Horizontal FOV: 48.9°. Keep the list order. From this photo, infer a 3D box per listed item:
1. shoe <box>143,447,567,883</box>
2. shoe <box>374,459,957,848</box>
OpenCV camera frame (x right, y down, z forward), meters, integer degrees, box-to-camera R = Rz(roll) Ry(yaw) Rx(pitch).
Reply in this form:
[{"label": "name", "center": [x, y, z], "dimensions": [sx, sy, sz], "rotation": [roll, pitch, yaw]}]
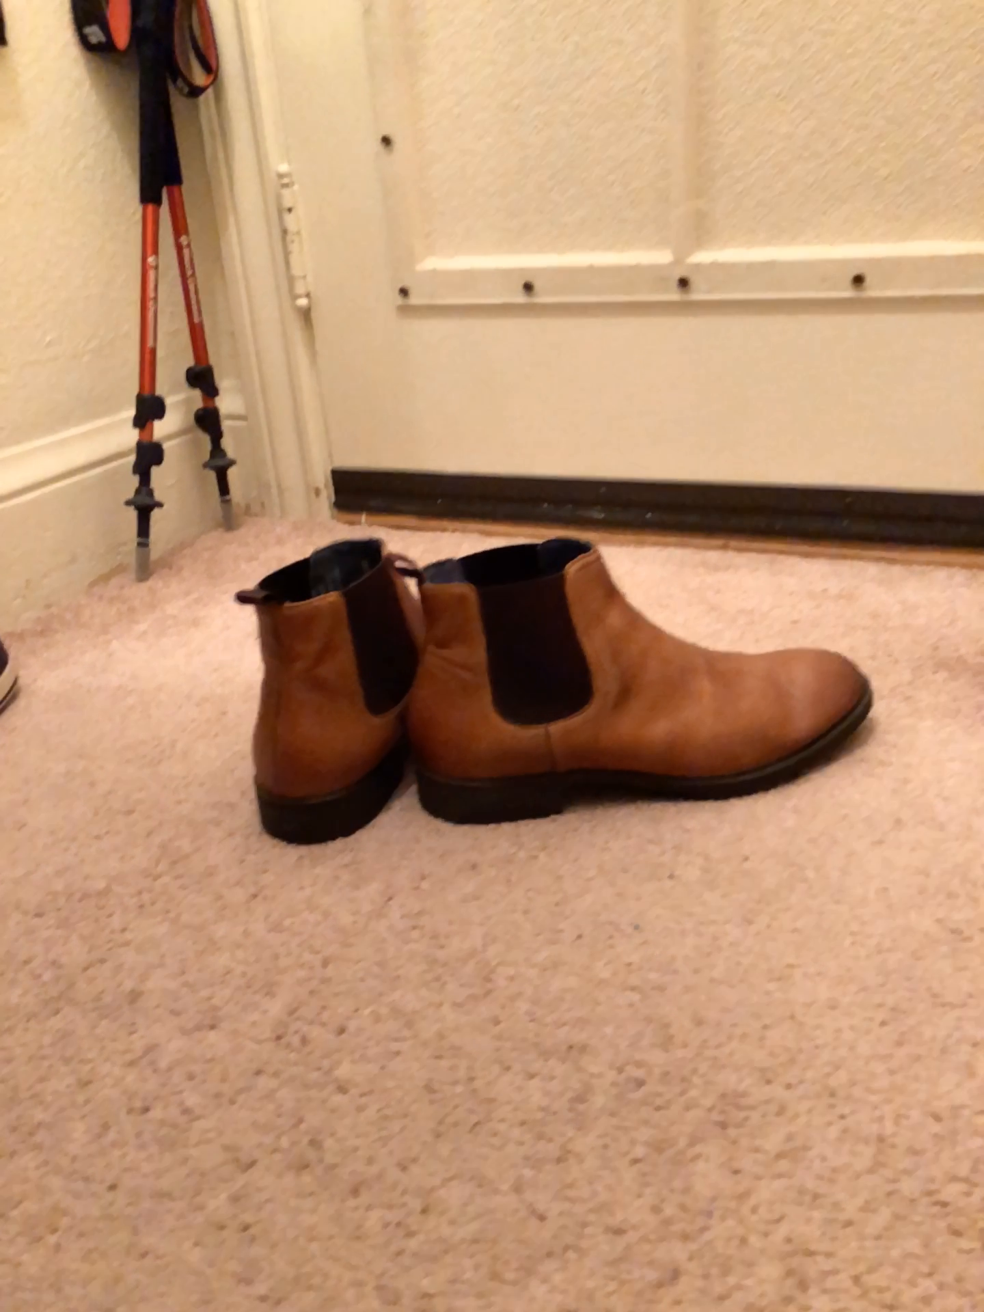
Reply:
[{"label": "shoe", "center": [-0.066, -0.017, 0.726], "dimensions": [0.109, 0.165, 0.314], "rotation": [8, 28, 26]}, {"label": "shoe", "center": [0.097, -0.008, 0.654], "dimensions": [0.312, 0.165, 0.110], "rotation": [-8, 25, -7]}]
